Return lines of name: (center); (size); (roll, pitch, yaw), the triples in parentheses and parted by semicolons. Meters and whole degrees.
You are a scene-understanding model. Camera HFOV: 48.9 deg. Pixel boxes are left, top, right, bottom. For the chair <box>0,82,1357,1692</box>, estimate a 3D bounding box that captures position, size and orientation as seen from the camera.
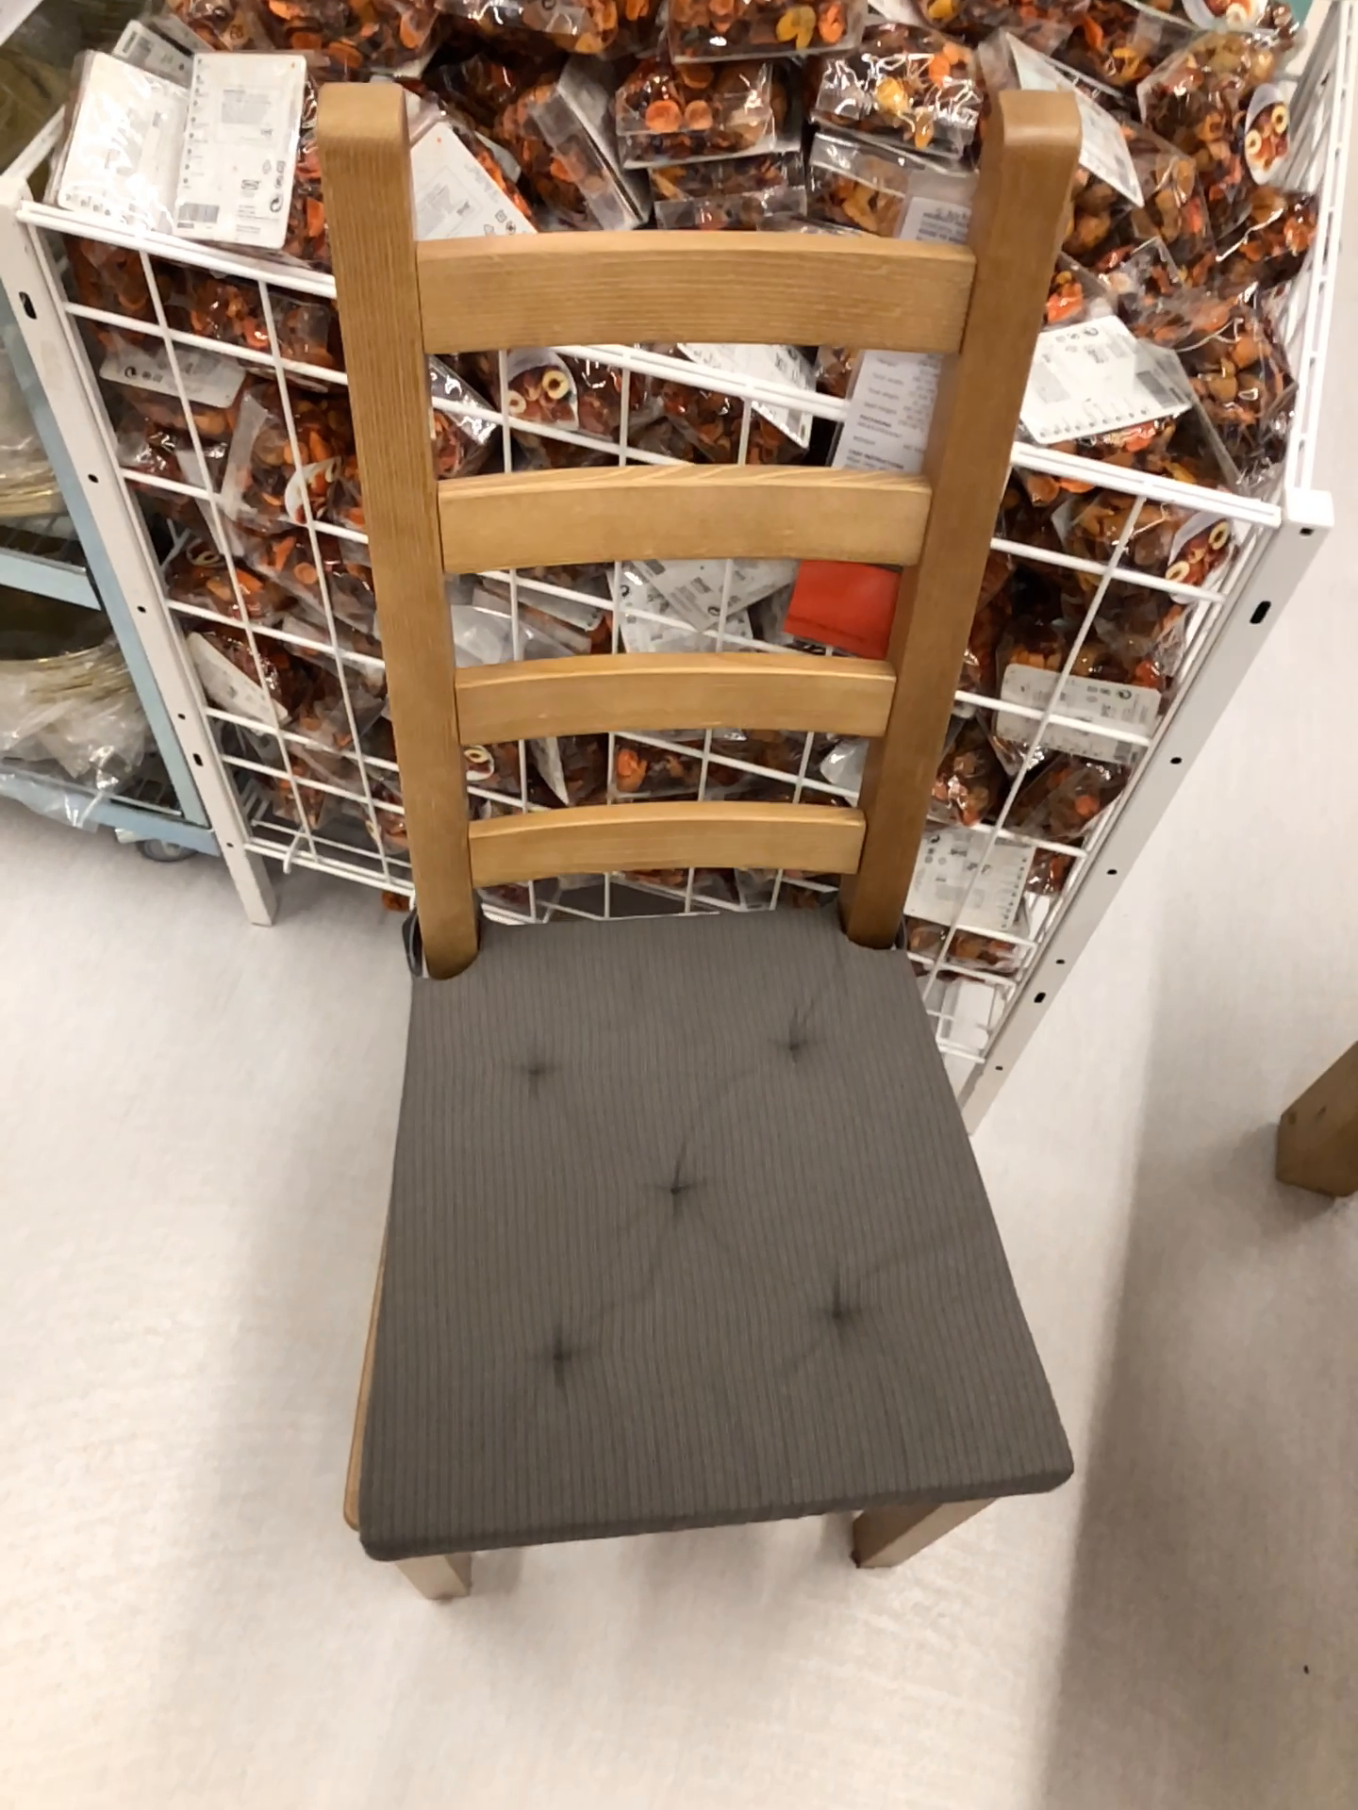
chair: (-0.010, 0.128, 0.833); (0.430, 0.916, 0.472); (-3, 60, -6)
